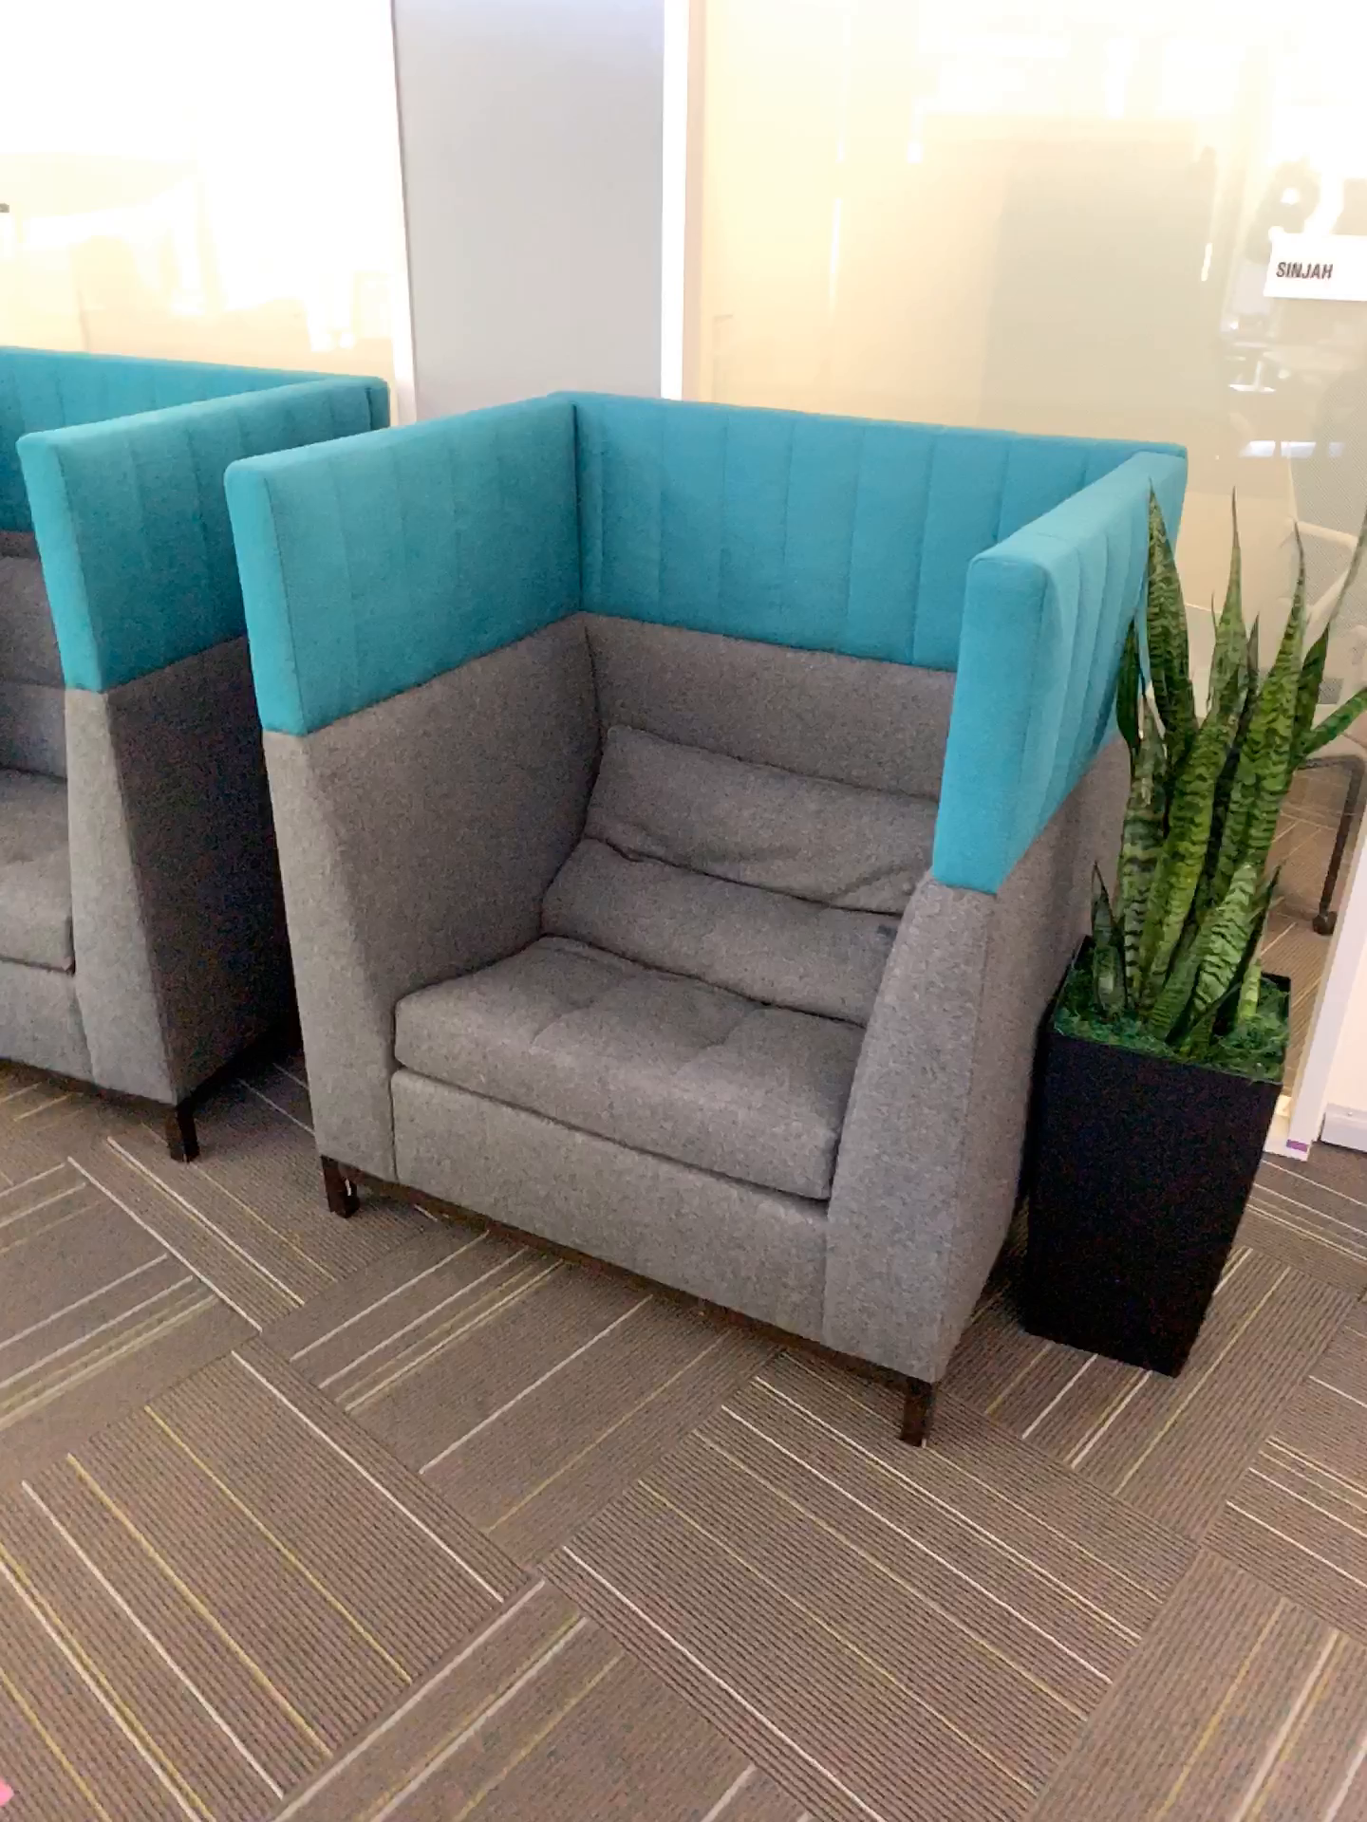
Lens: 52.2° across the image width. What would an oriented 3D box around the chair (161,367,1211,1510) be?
[{"bbox_3d":[0.065,-0.095,2.126,1.052,1.213,1.014,14,30,23],"label":"chair"}]
